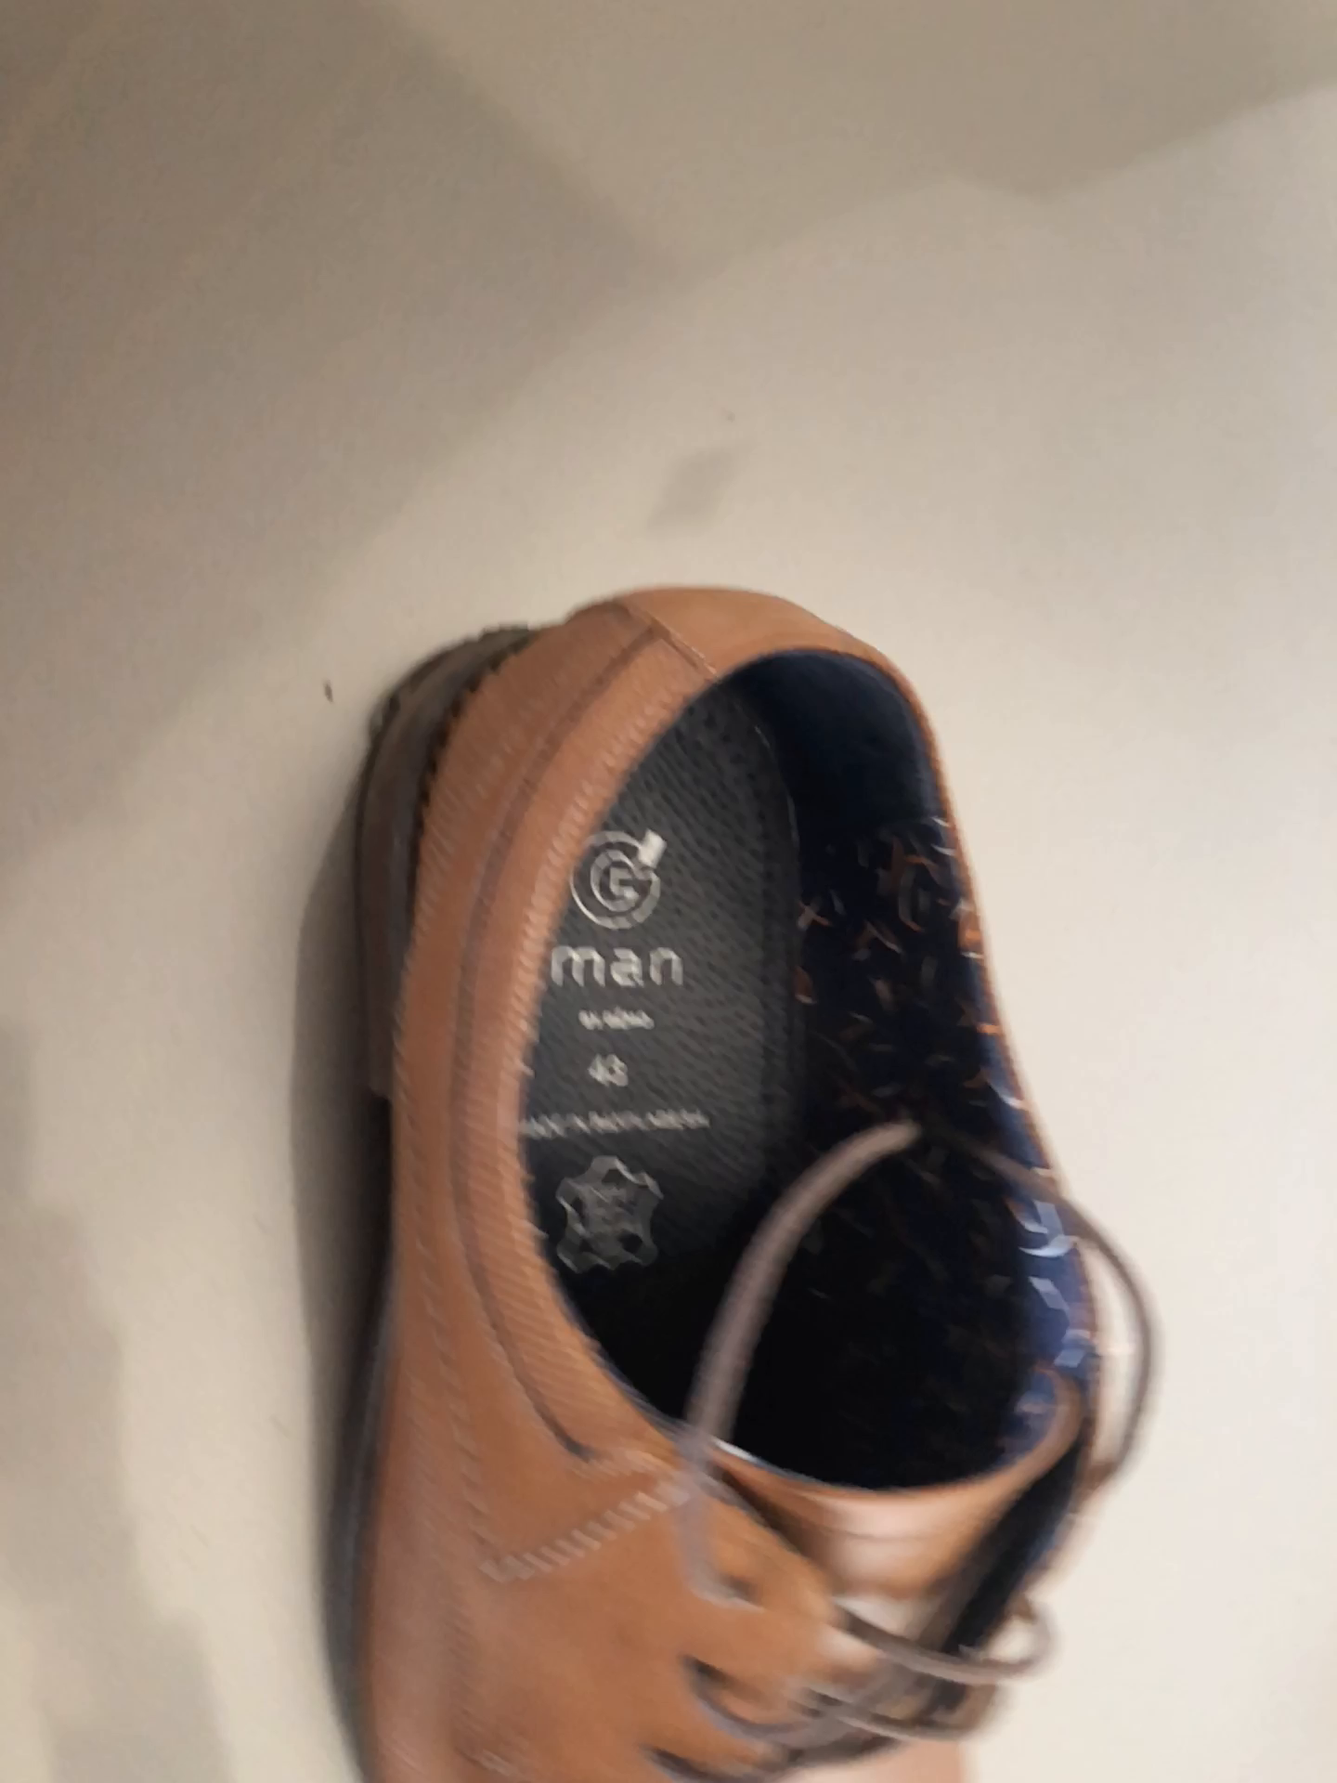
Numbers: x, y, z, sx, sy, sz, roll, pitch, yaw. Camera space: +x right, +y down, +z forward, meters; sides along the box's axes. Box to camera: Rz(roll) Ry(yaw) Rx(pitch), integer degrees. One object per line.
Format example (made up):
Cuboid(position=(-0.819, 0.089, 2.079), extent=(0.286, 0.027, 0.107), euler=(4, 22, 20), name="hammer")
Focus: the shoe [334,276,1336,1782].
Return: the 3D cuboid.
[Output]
Cuboid(position=(0.016, 0.093, 0.236), extent=(0.130, 0.090, 0.340), euler=(1, 82, -16), name="shoe")
